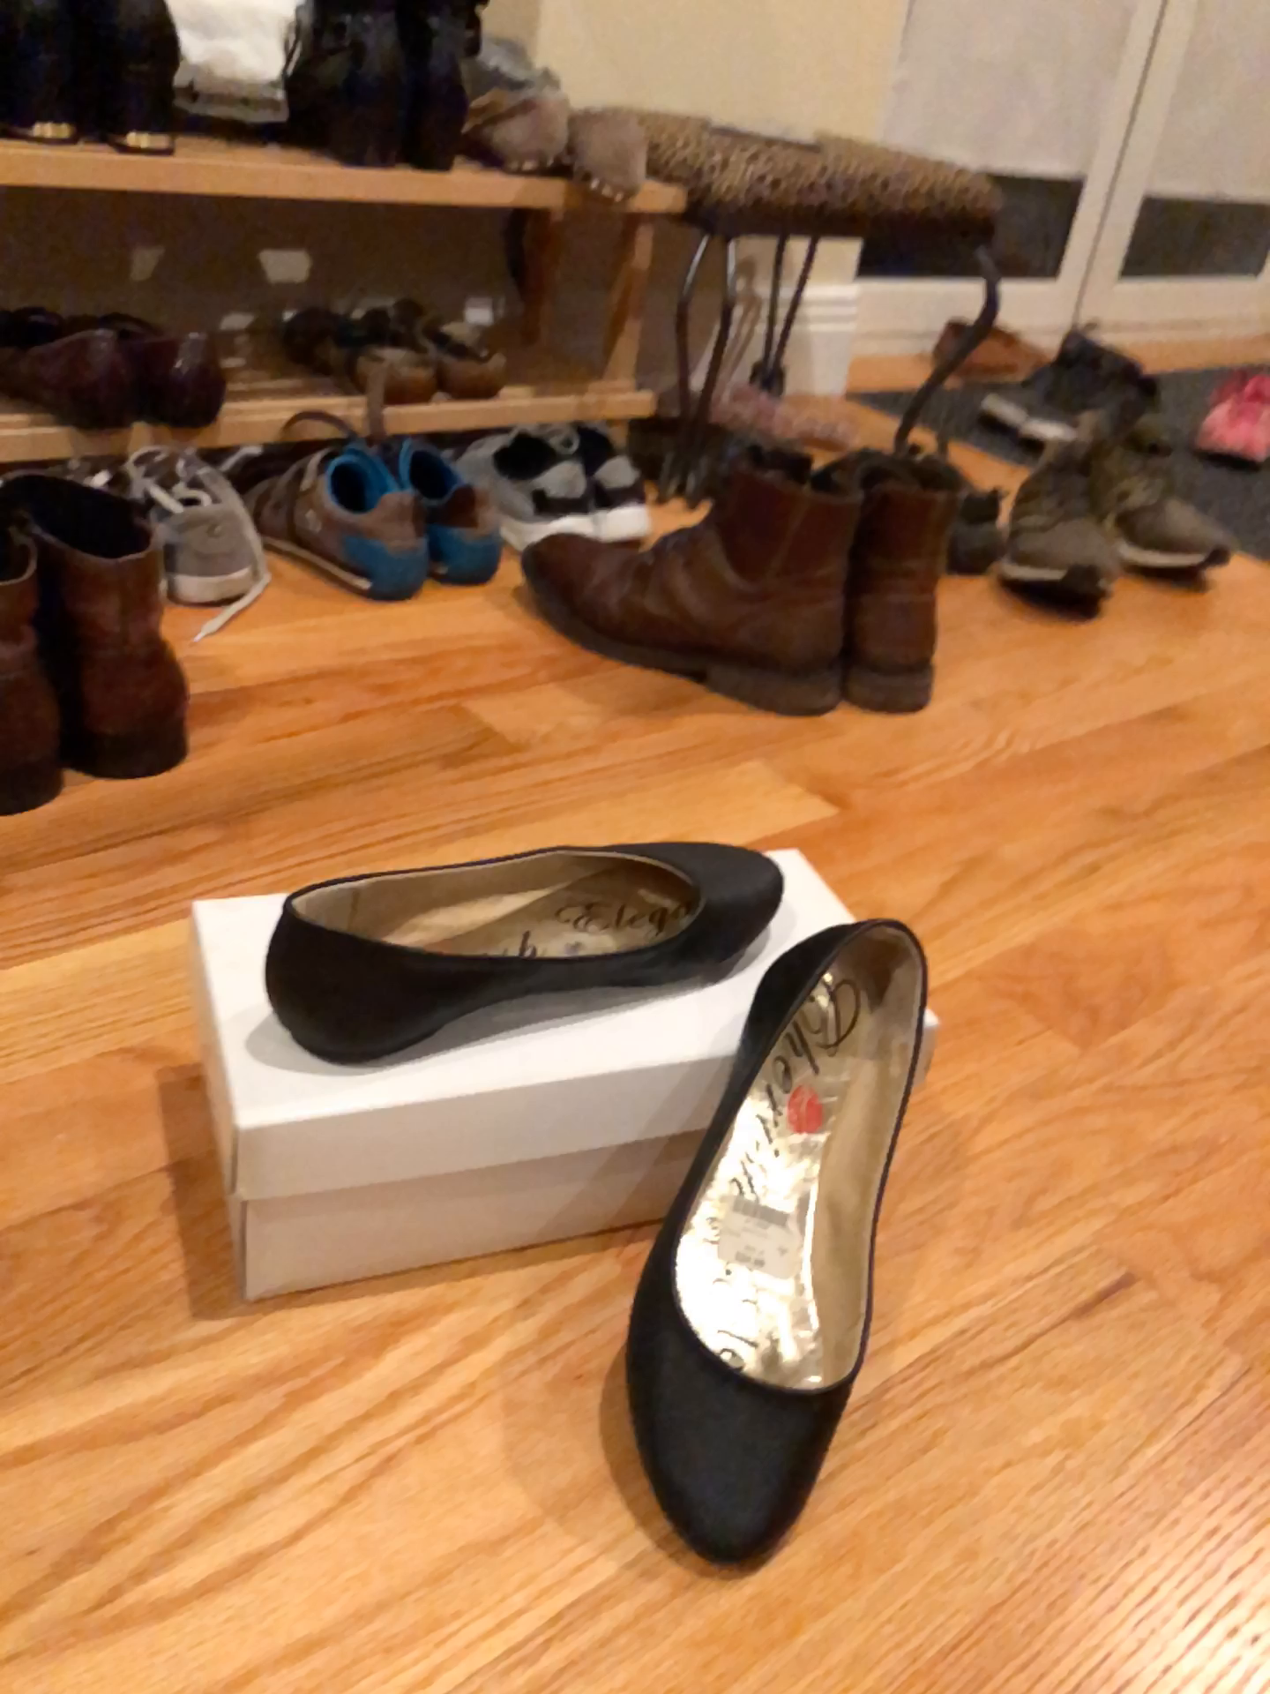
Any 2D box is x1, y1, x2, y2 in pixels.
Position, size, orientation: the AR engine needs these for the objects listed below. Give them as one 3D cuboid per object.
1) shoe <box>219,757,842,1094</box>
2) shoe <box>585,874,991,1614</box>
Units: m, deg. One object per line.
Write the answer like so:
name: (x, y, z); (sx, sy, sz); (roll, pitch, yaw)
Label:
shoe: (-0.038, 0.023, 0.570); (0.240, 0.060, 0.076); (-11, 36, -30)
shoe: (0.061, 0.138, 0.522); (0.076, 0.060, 0.240); (22, 66, -7)
